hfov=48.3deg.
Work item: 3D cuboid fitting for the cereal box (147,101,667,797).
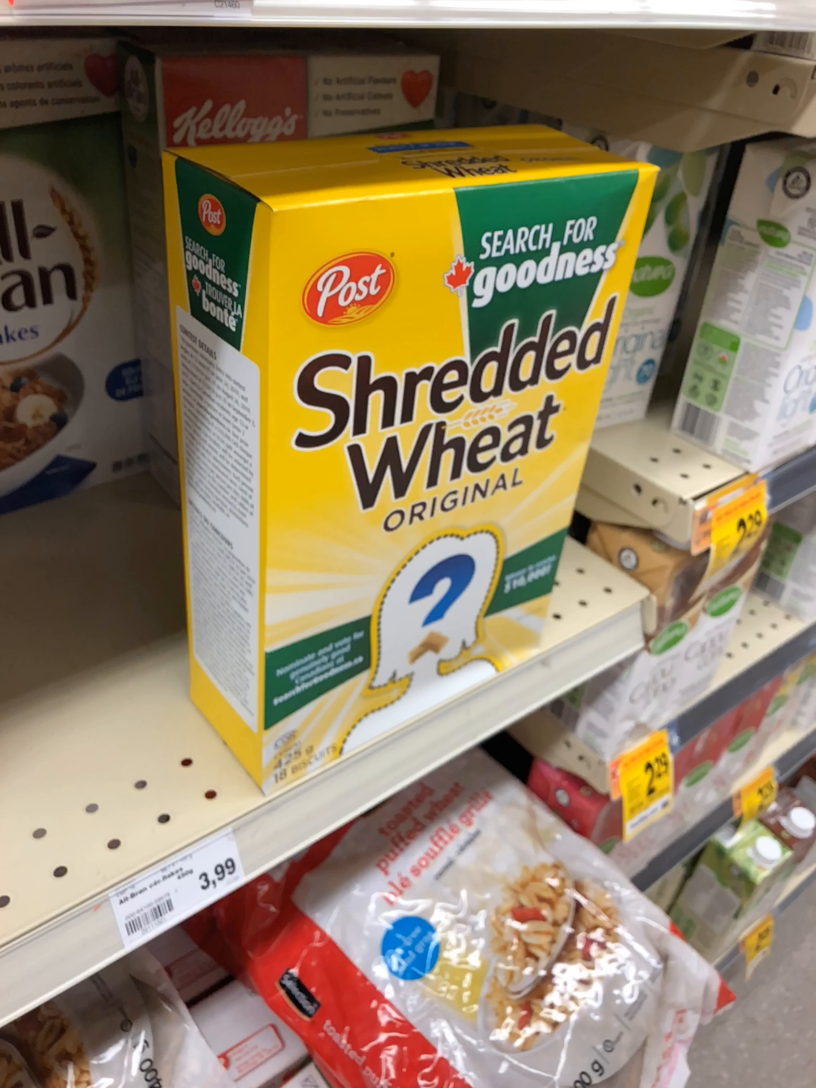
[{"bbox_3d":[-0.004,-0.045,0.441,0.201,0.288,0.080,-22,44,-34],"label":"cereal box"}]
